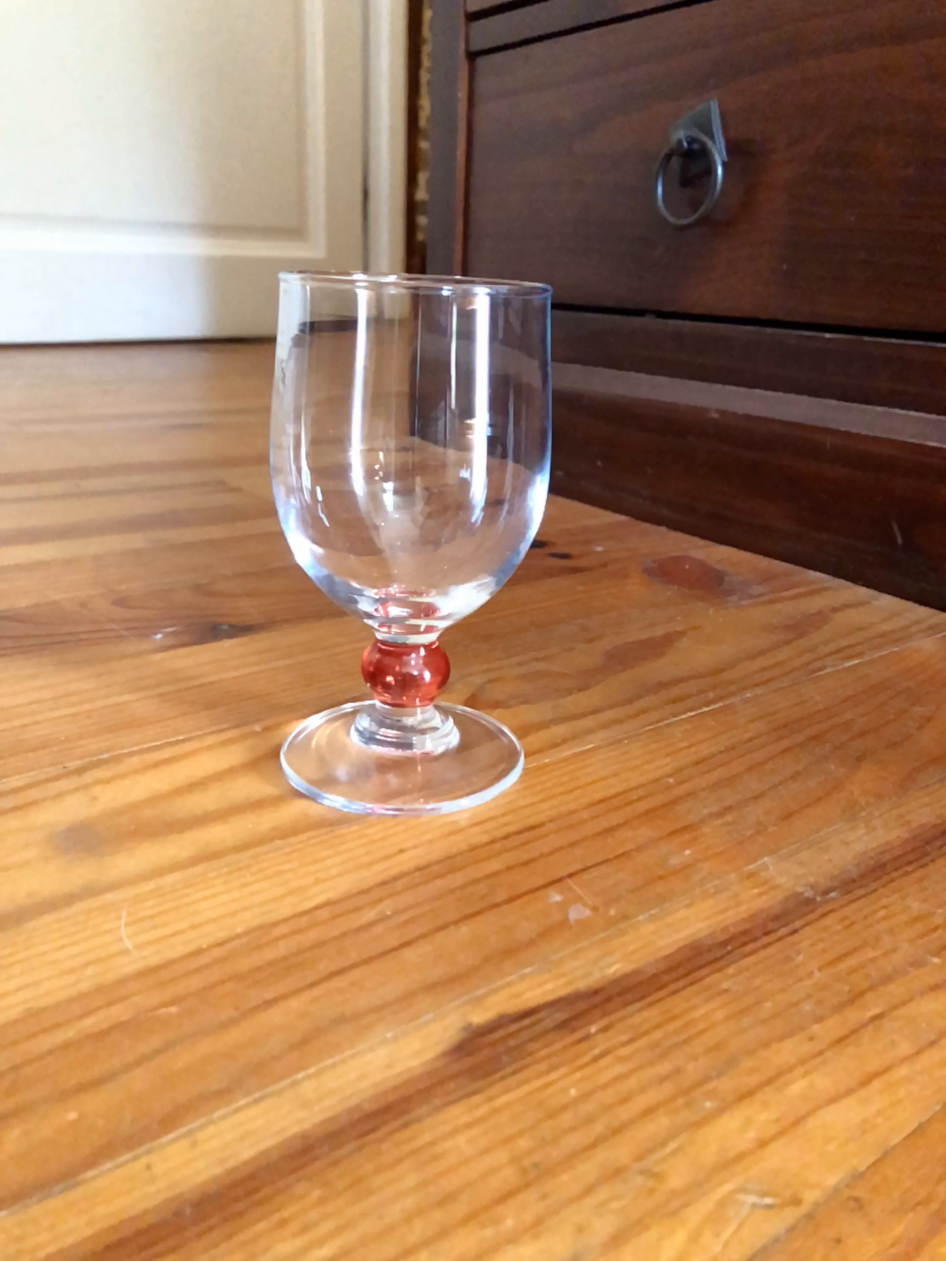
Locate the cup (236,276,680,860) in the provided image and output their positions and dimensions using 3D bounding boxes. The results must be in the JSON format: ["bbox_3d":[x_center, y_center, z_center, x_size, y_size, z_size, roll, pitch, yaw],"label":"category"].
[{"bbox_3d":[-0.009,-0.025,0.284,0.088,0.132,0.083,1,19,0],"label":"cup"}]
